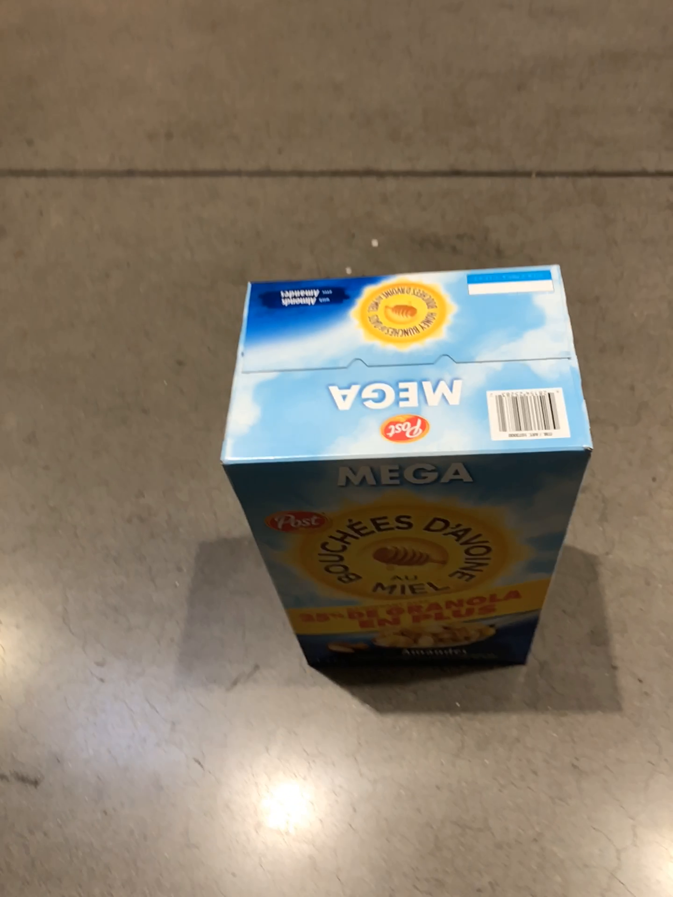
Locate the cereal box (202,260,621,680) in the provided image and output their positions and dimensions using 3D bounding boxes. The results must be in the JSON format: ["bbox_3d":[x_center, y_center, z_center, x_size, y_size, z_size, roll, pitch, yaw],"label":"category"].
[{"bbox_3d":[0.054,0.045,0.552,0.210,0.330,0.150,-2,56,6],"label":"cereal box"}]
